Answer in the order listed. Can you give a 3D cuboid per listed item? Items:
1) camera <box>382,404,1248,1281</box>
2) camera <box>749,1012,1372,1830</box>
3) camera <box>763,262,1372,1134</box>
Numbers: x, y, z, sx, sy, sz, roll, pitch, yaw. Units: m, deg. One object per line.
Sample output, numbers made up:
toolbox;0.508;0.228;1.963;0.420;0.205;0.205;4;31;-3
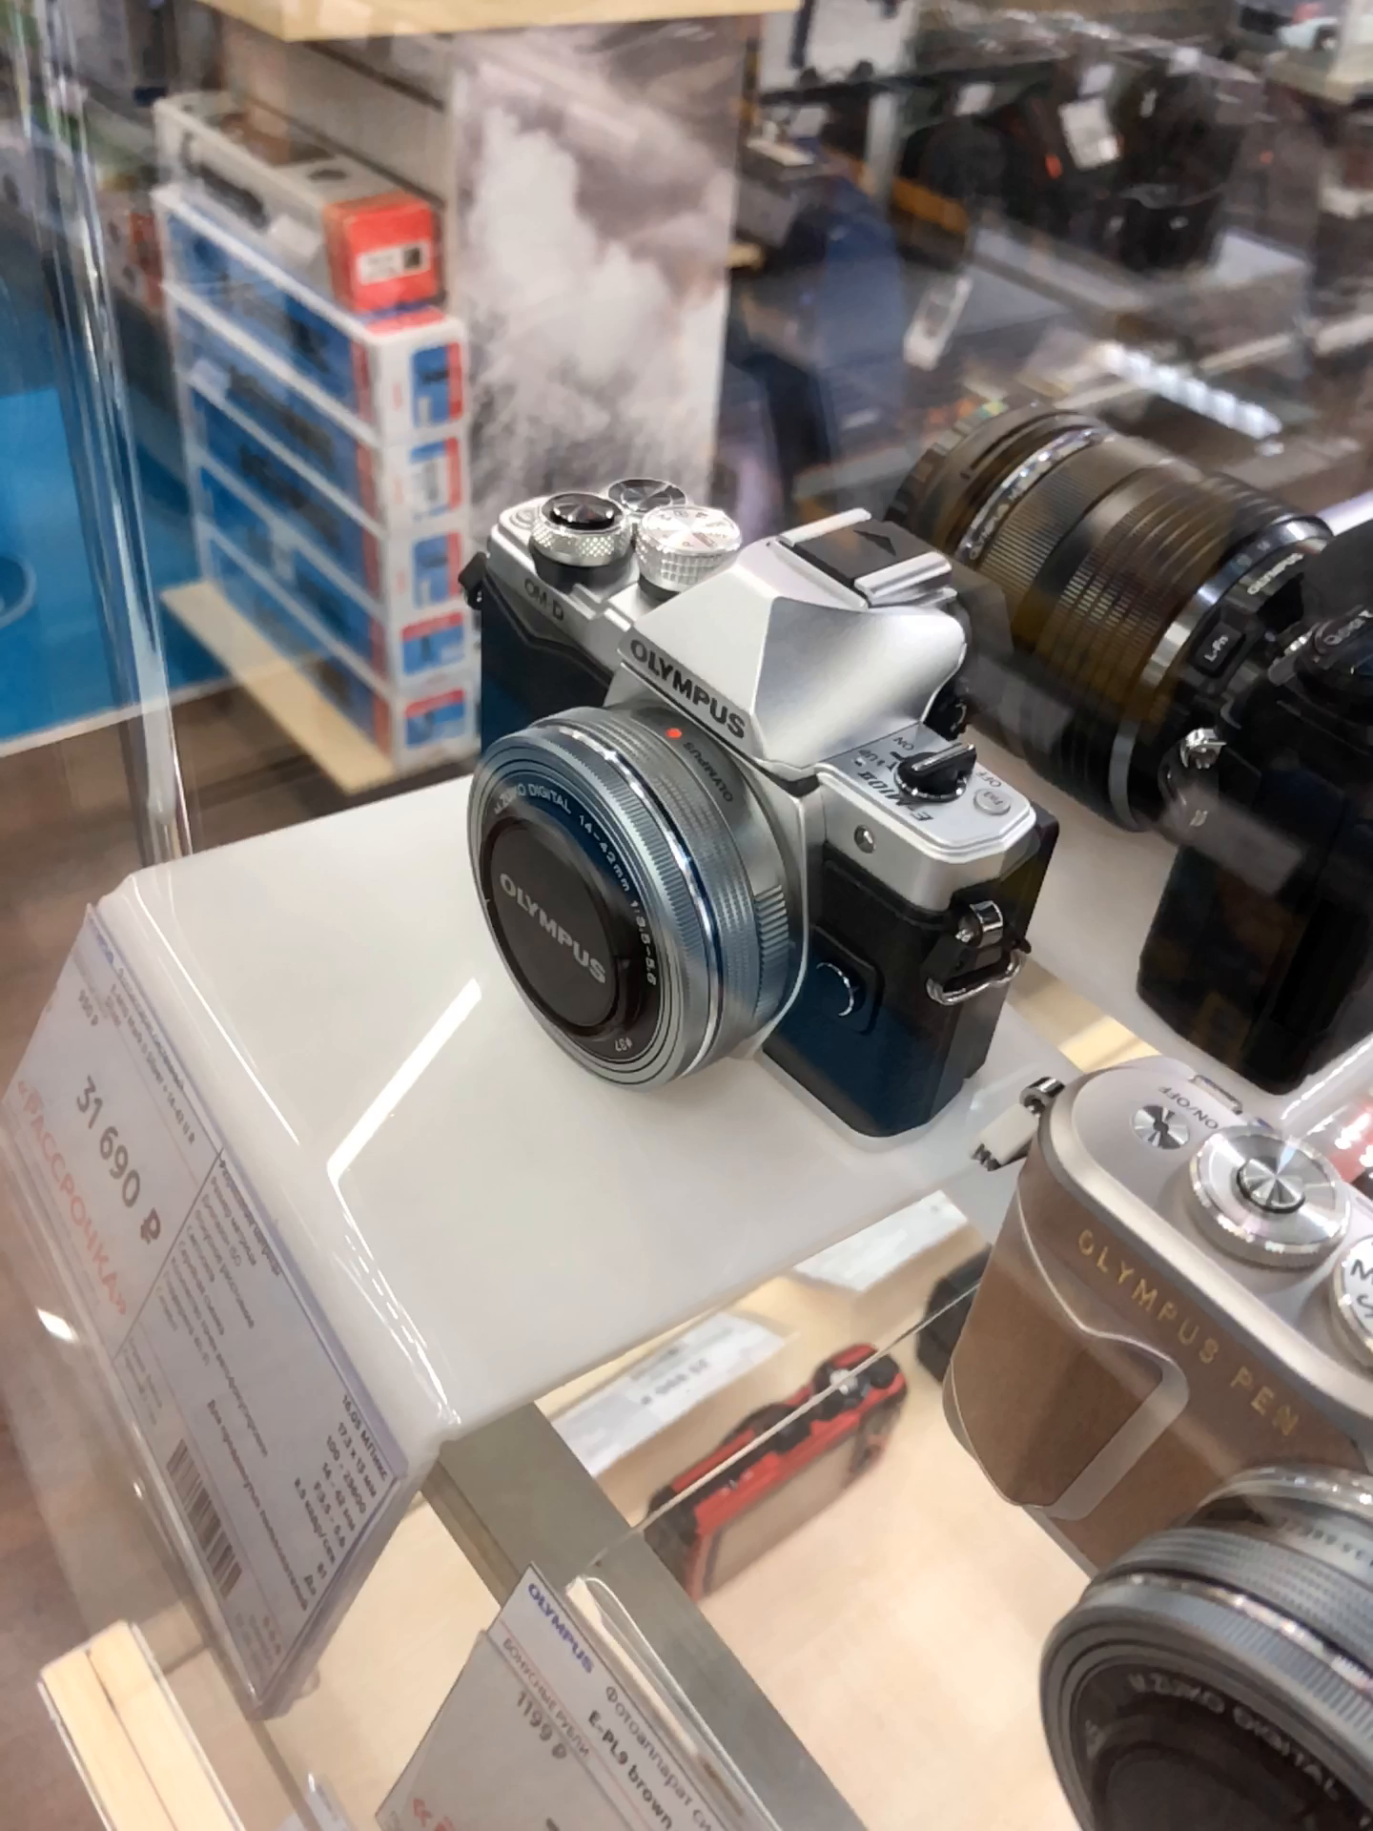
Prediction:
camera;0.012;-0.020;0.261;0.072;0.080;0.120;-25;49;-32
camera;0.080;0.086;0.165;0.065;0.062;0.140;-25;49;-32
camera;0.102;-0.052;0.293;0.102;0.087;0.137;-23;49;-31
